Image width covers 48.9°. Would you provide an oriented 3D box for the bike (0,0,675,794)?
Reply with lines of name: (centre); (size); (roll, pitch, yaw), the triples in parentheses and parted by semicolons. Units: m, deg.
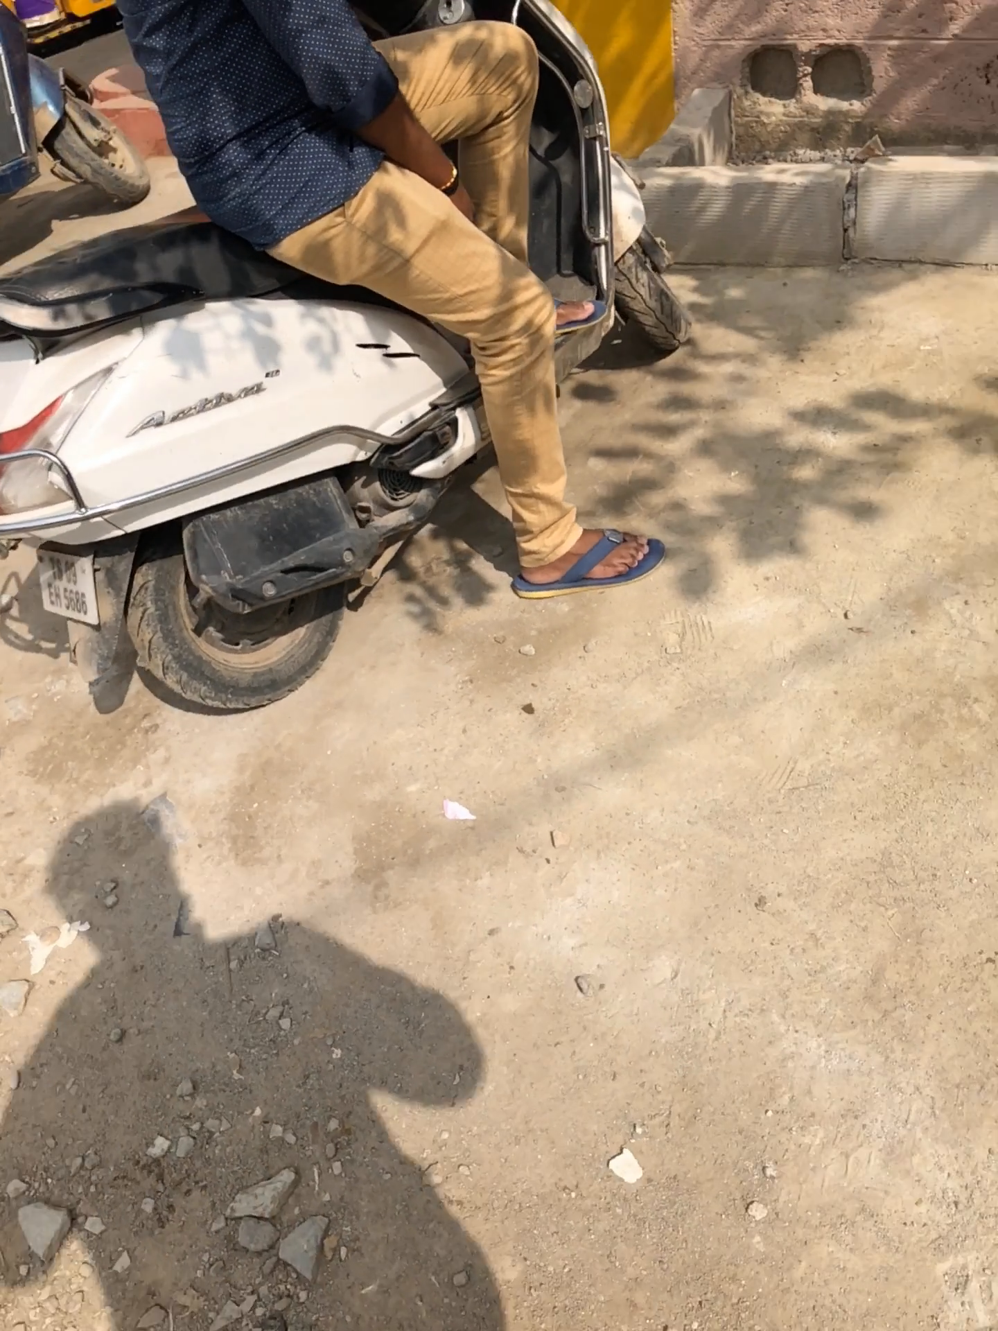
bike: (-0.330, -0.822, 2.091); (0.621, 1.188, 1.602); (20, 52, 30)
